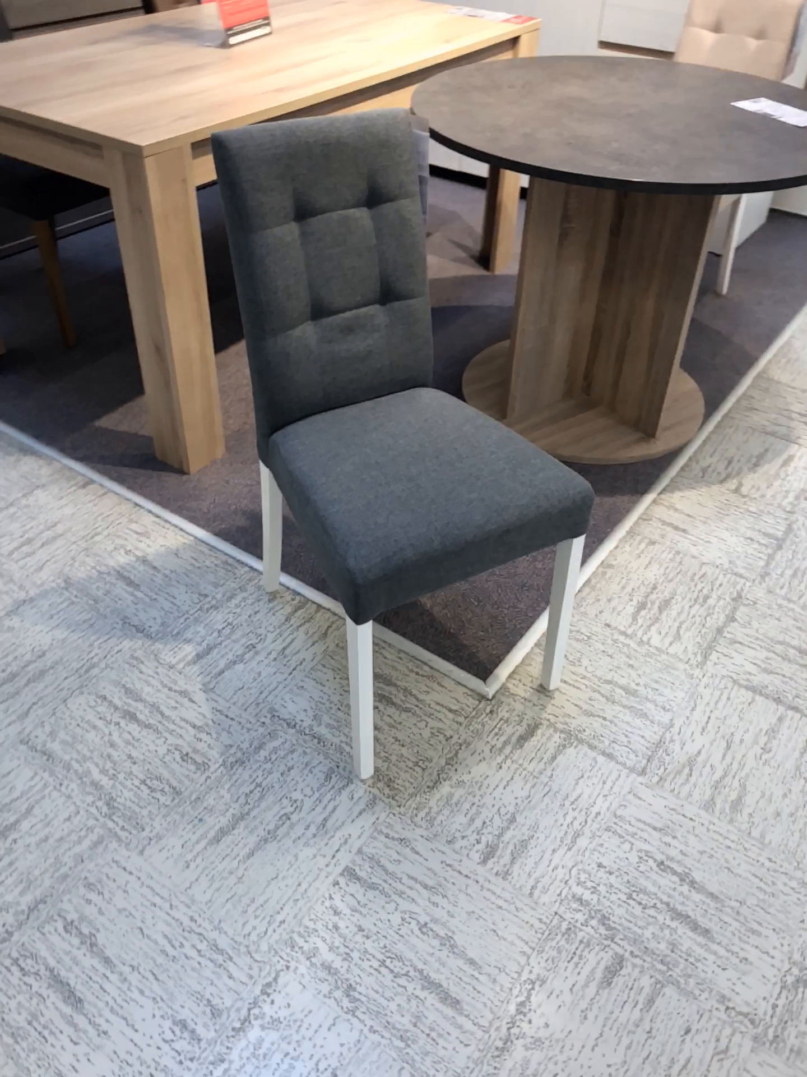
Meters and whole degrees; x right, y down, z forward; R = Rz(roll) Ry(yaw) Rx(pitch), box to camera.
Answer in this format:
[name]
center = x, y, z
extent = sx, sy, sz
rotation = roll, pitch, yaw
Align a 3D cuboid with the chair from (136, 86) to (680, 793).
[chair]
center = -0.036, -0.163, 1.371
extent = 0.462, 0.825, 0.582
rotation = -19, 44, -23
